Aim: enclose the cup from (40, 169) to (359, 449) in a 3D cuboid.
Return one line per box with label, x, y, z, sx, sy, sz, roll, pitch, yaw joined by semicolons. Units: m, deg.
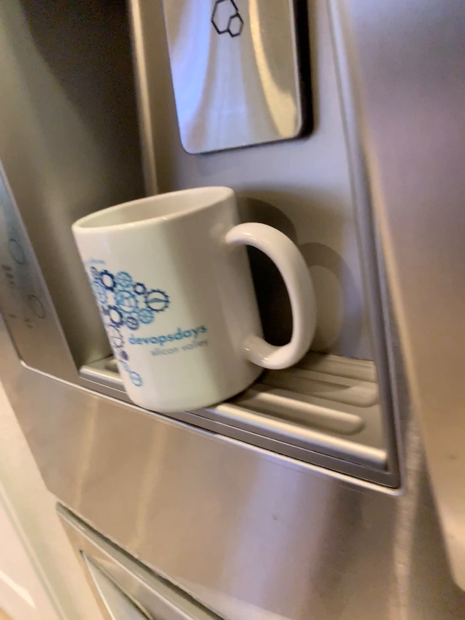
cup;-0.013;-0.006;0.250;0.120;0.099;0.080;2;26;34
